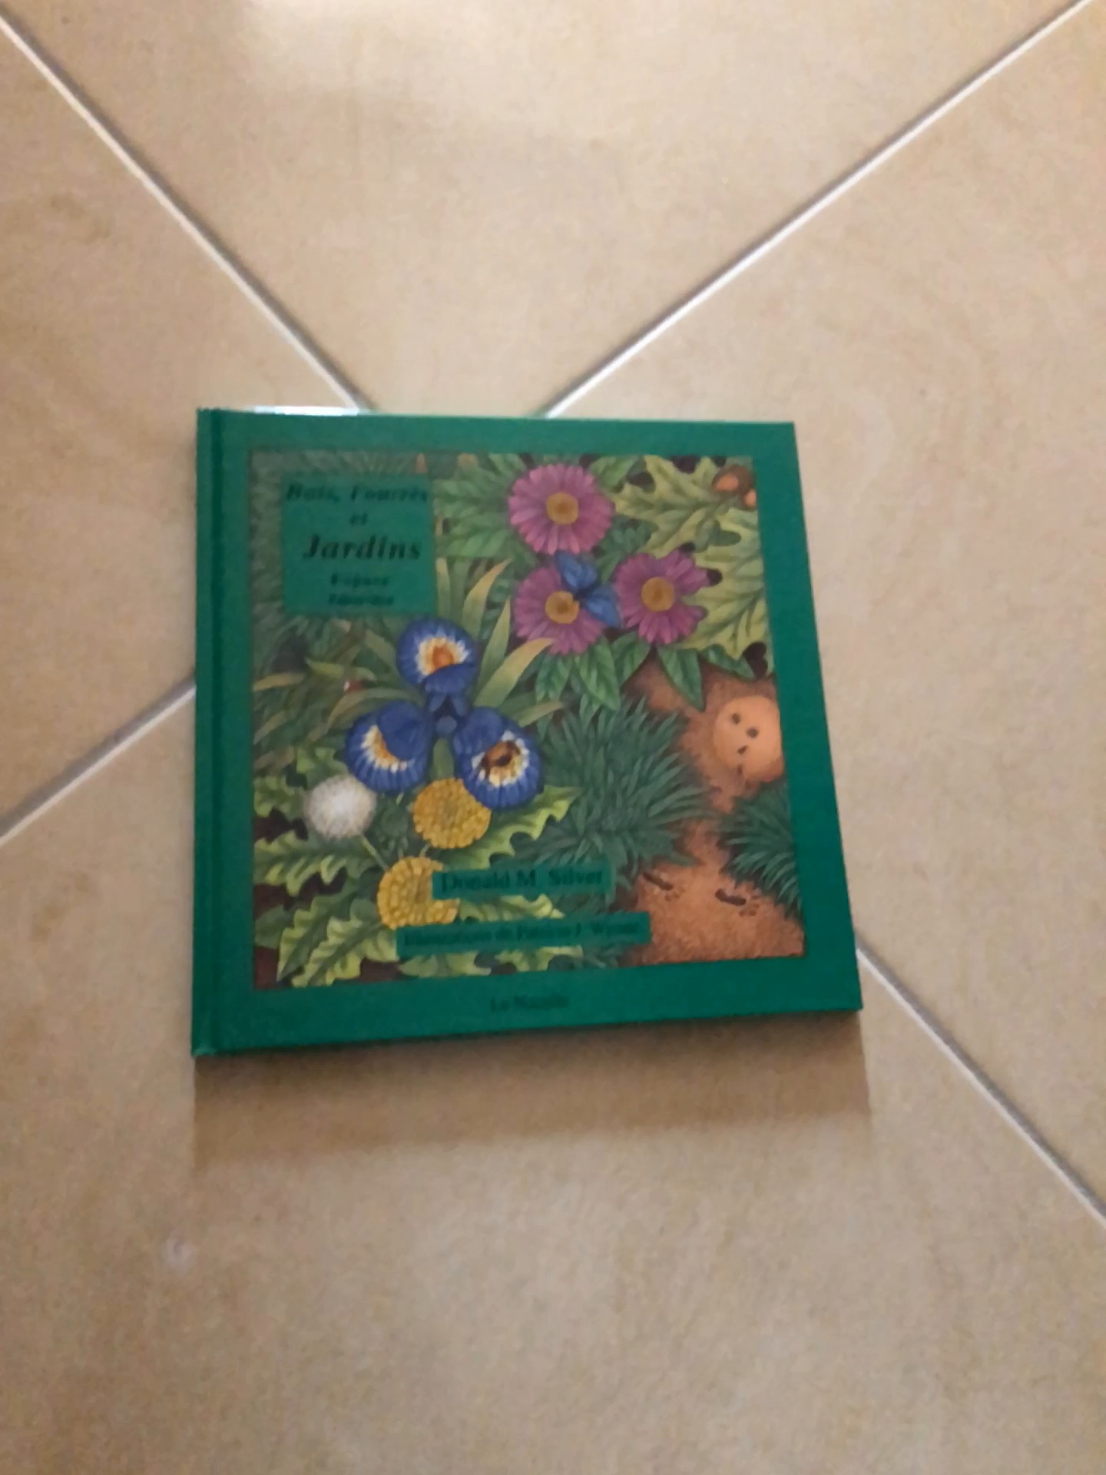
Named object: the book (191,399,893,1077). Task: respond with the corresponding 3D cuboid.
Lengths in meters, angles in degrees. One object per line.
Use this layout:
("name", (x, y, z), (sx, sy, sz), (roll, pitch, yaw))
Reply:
("book", (-0.007, -0.007, 0.455), (0.240, 0.030, 0.240), (-1, 76, -10))
